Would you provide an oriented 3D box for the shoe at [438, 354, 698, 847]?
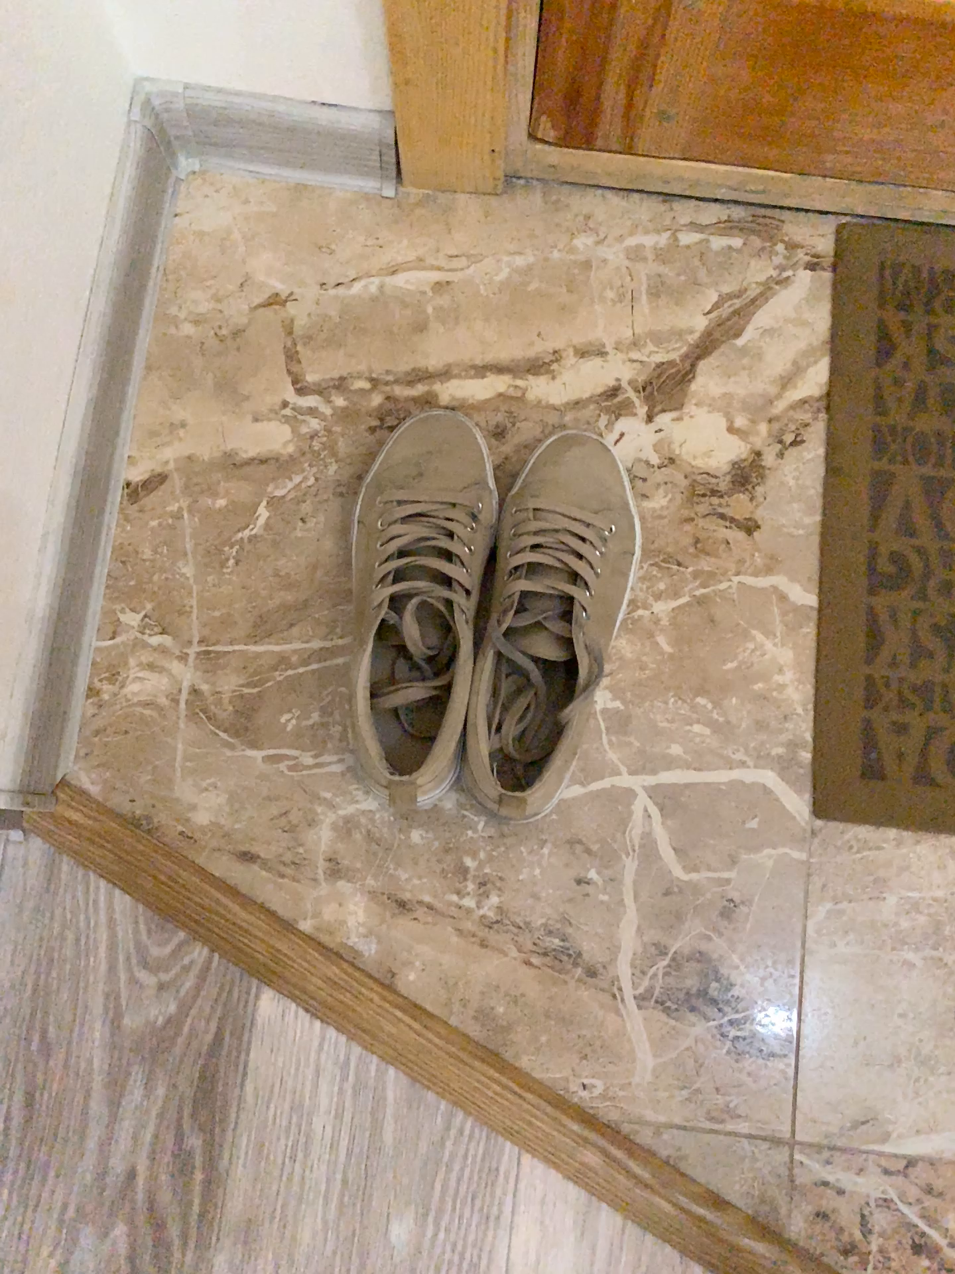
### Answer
[{"bbox_3d":[0.047,-0.015,0.539,0.090,0.100,0.240,11,79,1],"label":"shoe"}]

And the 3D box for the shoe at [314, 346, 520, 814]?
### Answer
[{"bbox_3d":[-0.029,-0.026,0.549,0.090,0.100,0.240,3,79,0],"label":"shoe"}]
